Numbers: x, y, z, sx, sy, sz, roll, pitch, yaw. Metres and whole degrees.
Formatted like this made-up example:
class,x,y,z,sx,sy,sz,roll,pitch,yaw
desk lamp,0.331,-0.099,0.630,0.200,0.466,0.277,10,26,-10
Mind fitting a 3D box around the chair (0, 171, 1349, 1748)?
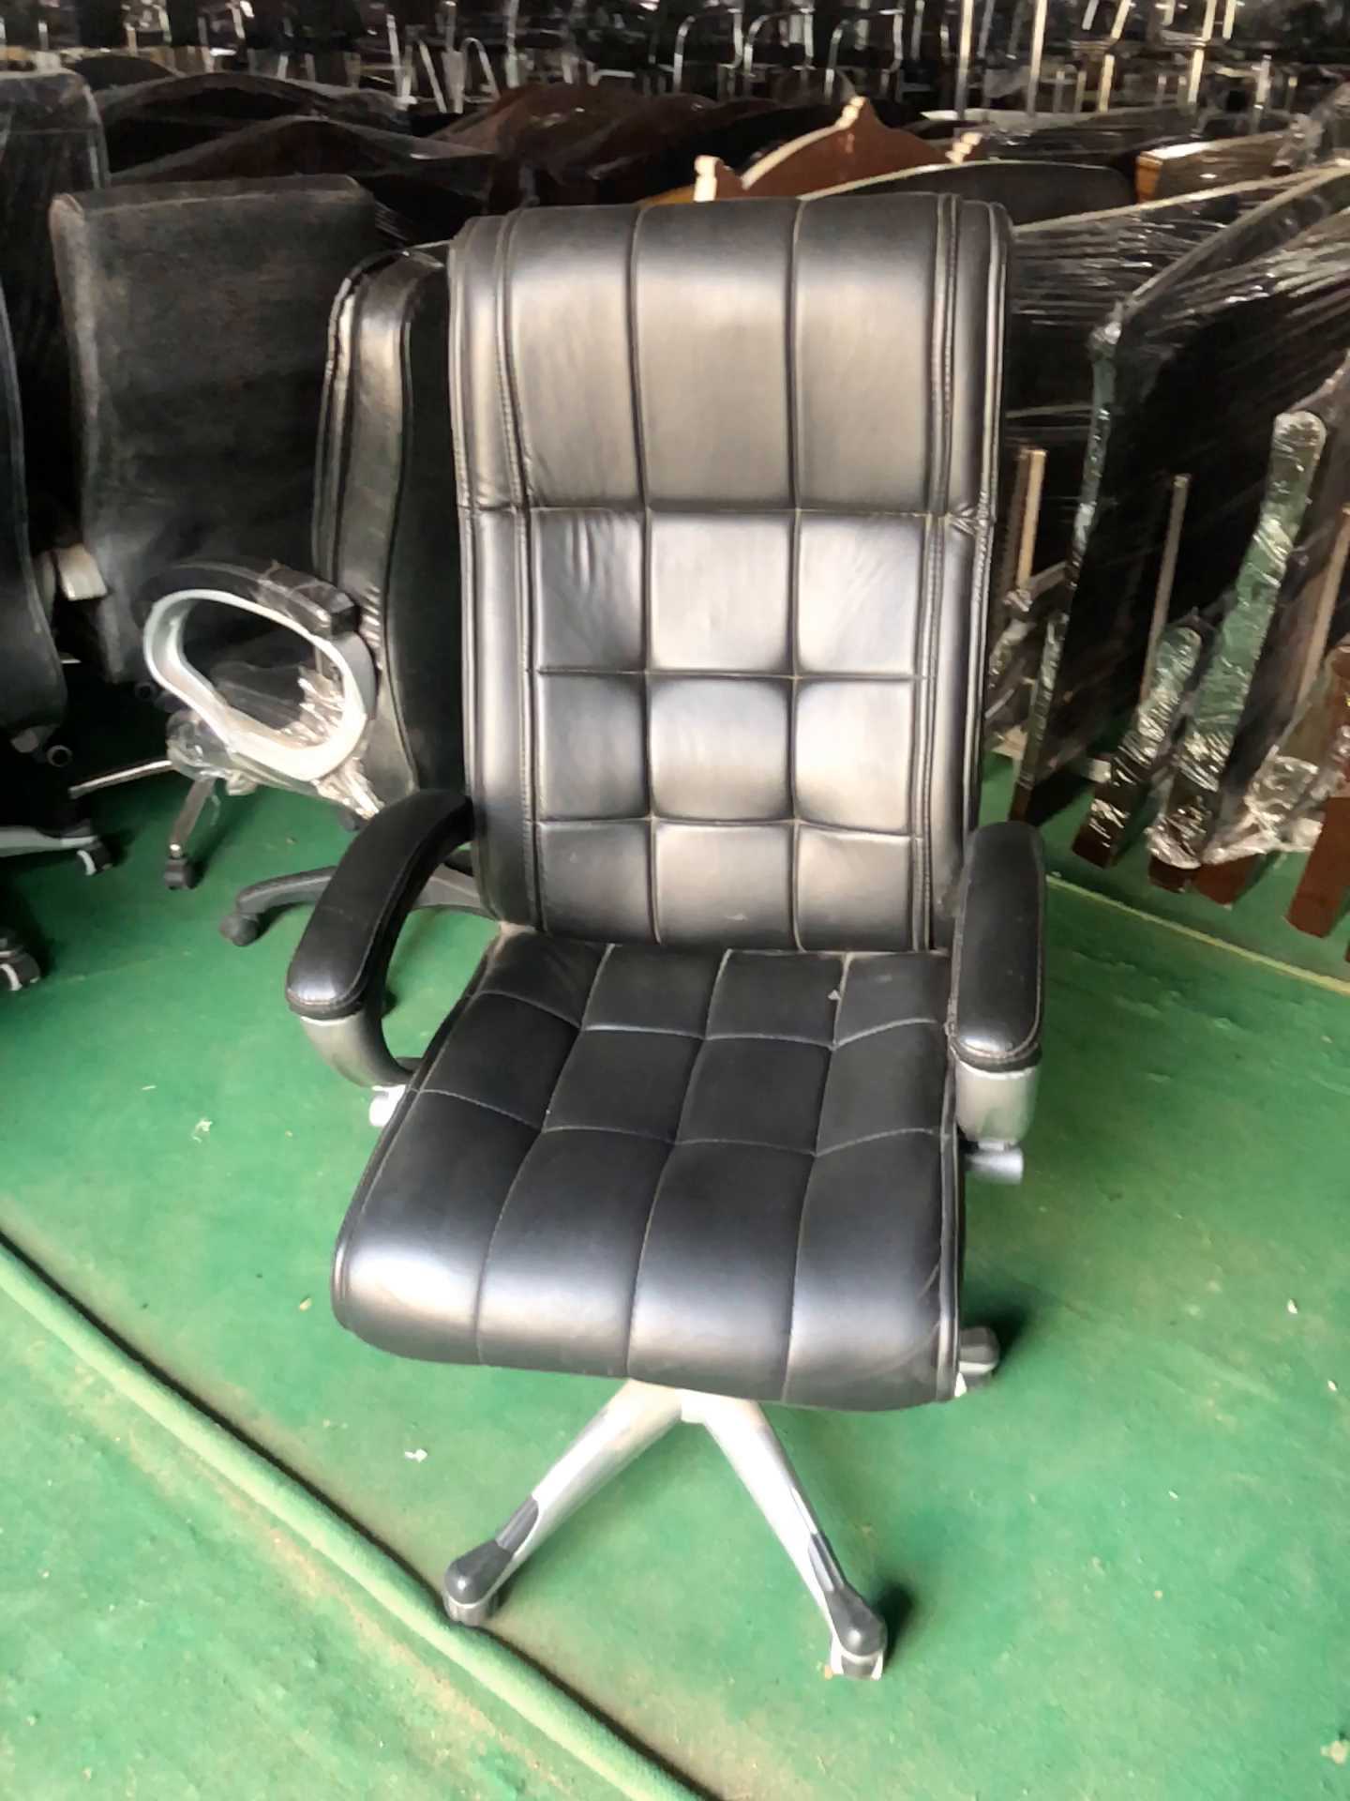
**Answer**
class,x,y,z,sx,sy,sz,roll,pitch,yaw
chair,0.024,0.008,1.446,0.810,1.224,0.835,4,30,6
